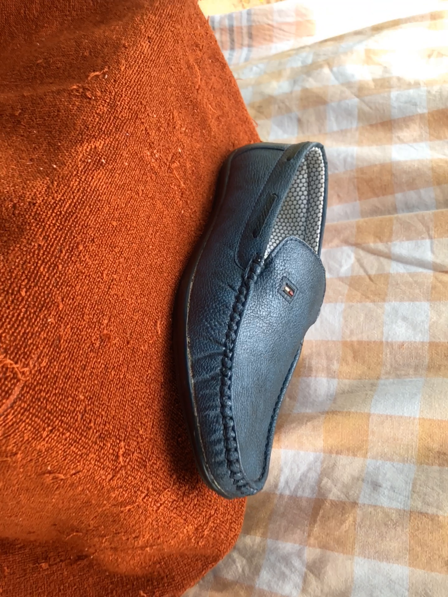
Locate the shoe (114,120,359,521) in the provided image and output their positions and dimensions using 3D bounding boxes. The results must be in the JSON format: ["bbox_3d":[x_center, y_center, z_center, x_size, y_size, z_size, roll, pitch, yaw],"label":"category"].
[{"bbox_3d":[0.031,0.002,0.355,0.101,0.089,0.261,57,38,-43],"label":"shoe"}]
